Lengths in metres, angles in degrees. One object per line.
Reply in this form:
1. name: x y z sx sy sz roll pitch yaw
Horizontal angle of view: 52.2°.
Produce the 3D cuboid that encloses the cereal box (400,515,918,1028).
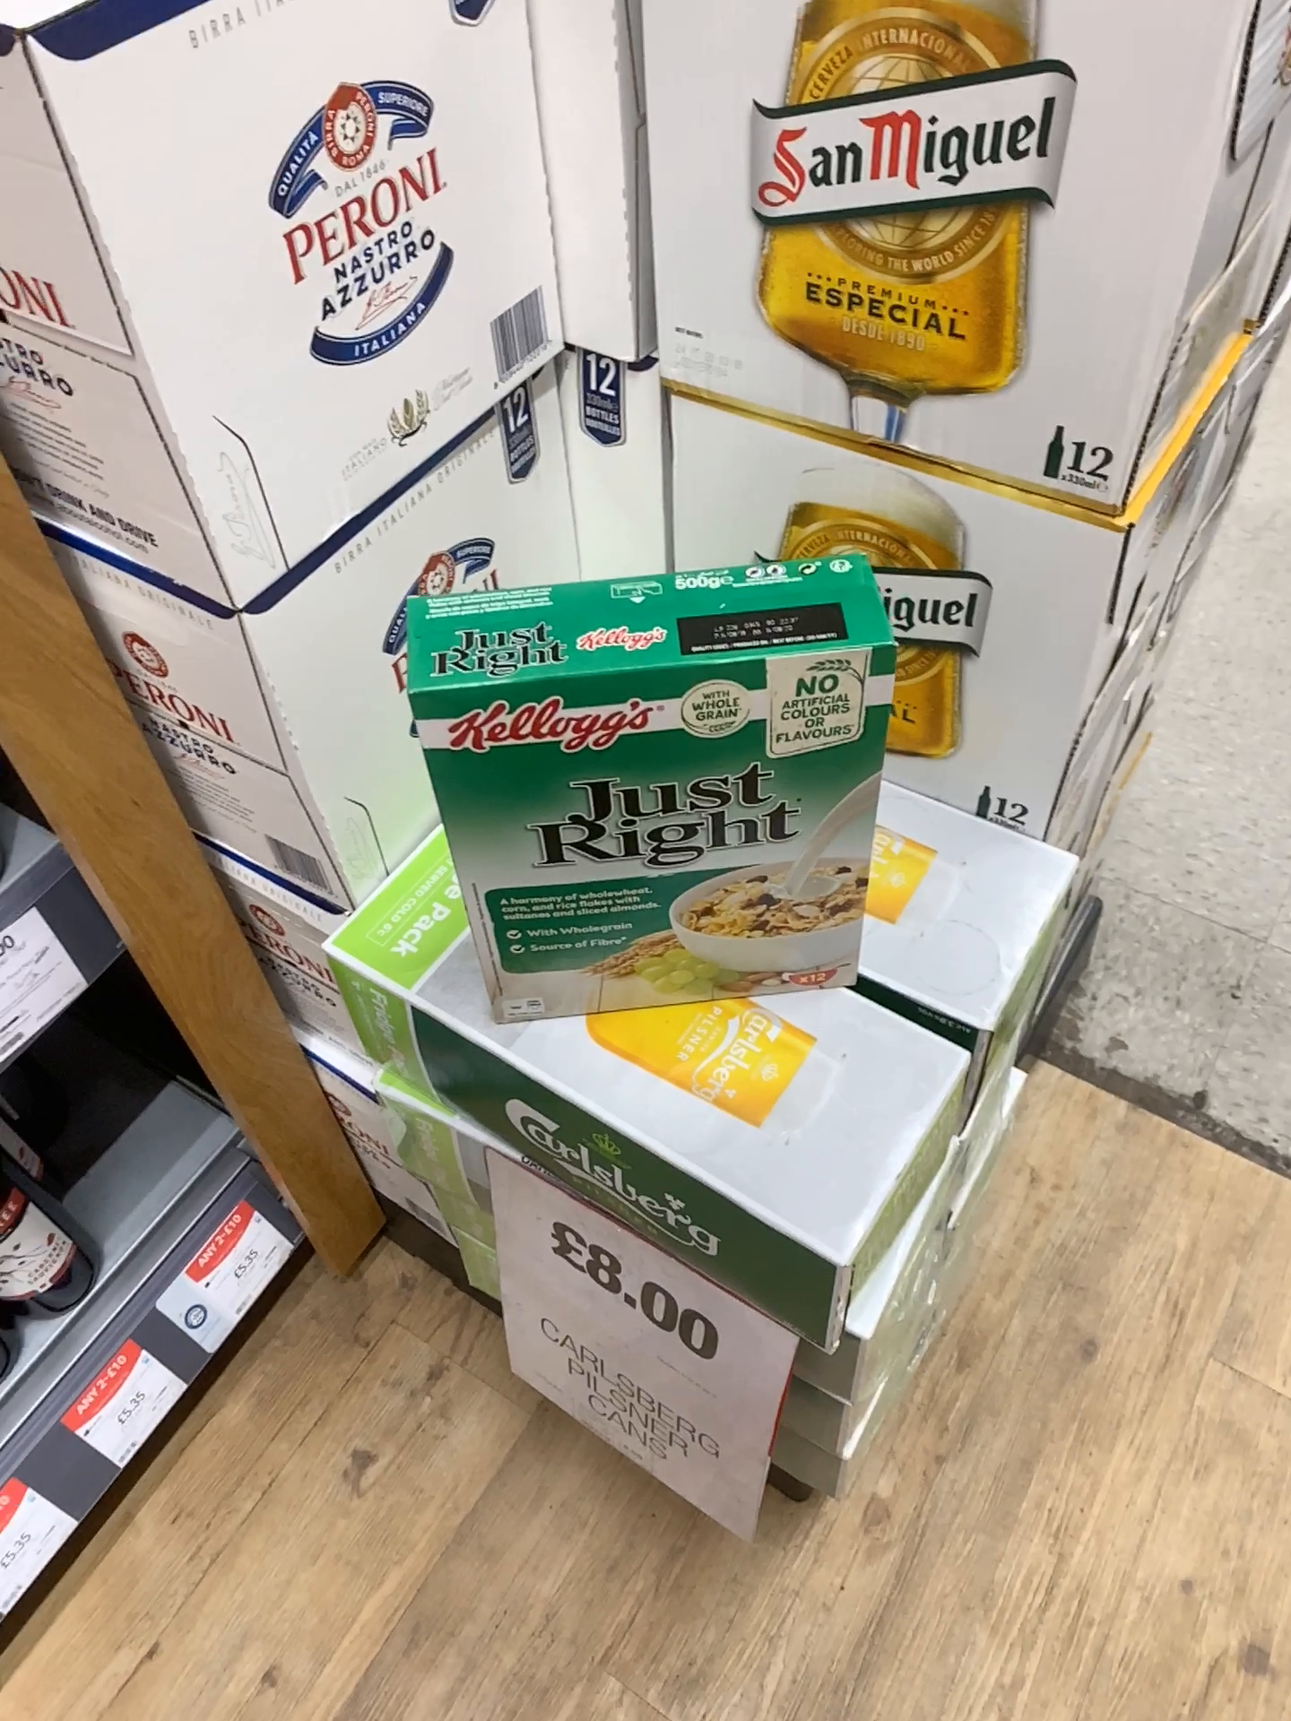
1. cereal box: 0.010 -0.027 0.596 0.190 0.238 0.071 -6 51 0
